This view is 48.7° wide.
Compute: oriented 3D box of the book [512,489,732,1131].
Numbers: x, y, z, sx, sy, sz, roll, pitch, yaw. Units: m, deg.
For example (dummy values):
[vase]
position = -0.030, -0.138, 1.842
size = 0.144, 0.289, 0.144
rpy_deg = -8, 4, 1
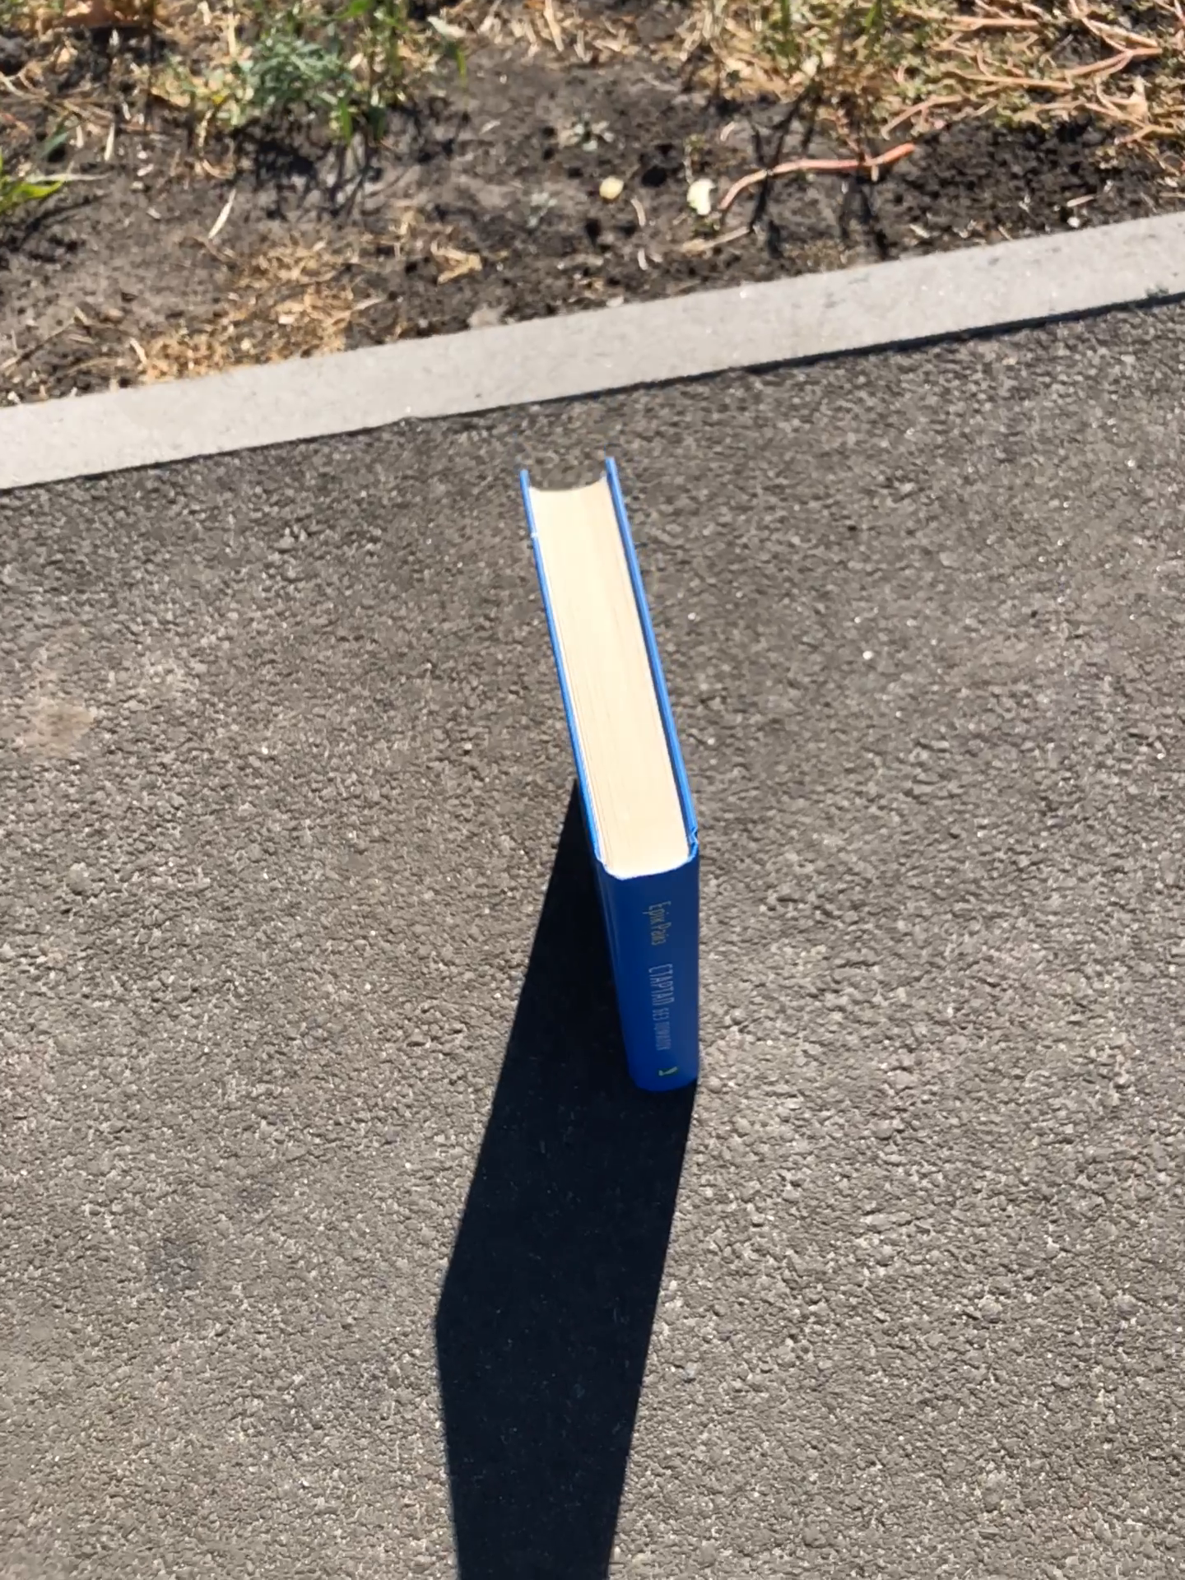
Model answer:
[book]
position = 0.015, 0.021, 0.475
size = 0.038, 0.205, 0.155
rpy_deg = -11, 62, 1
